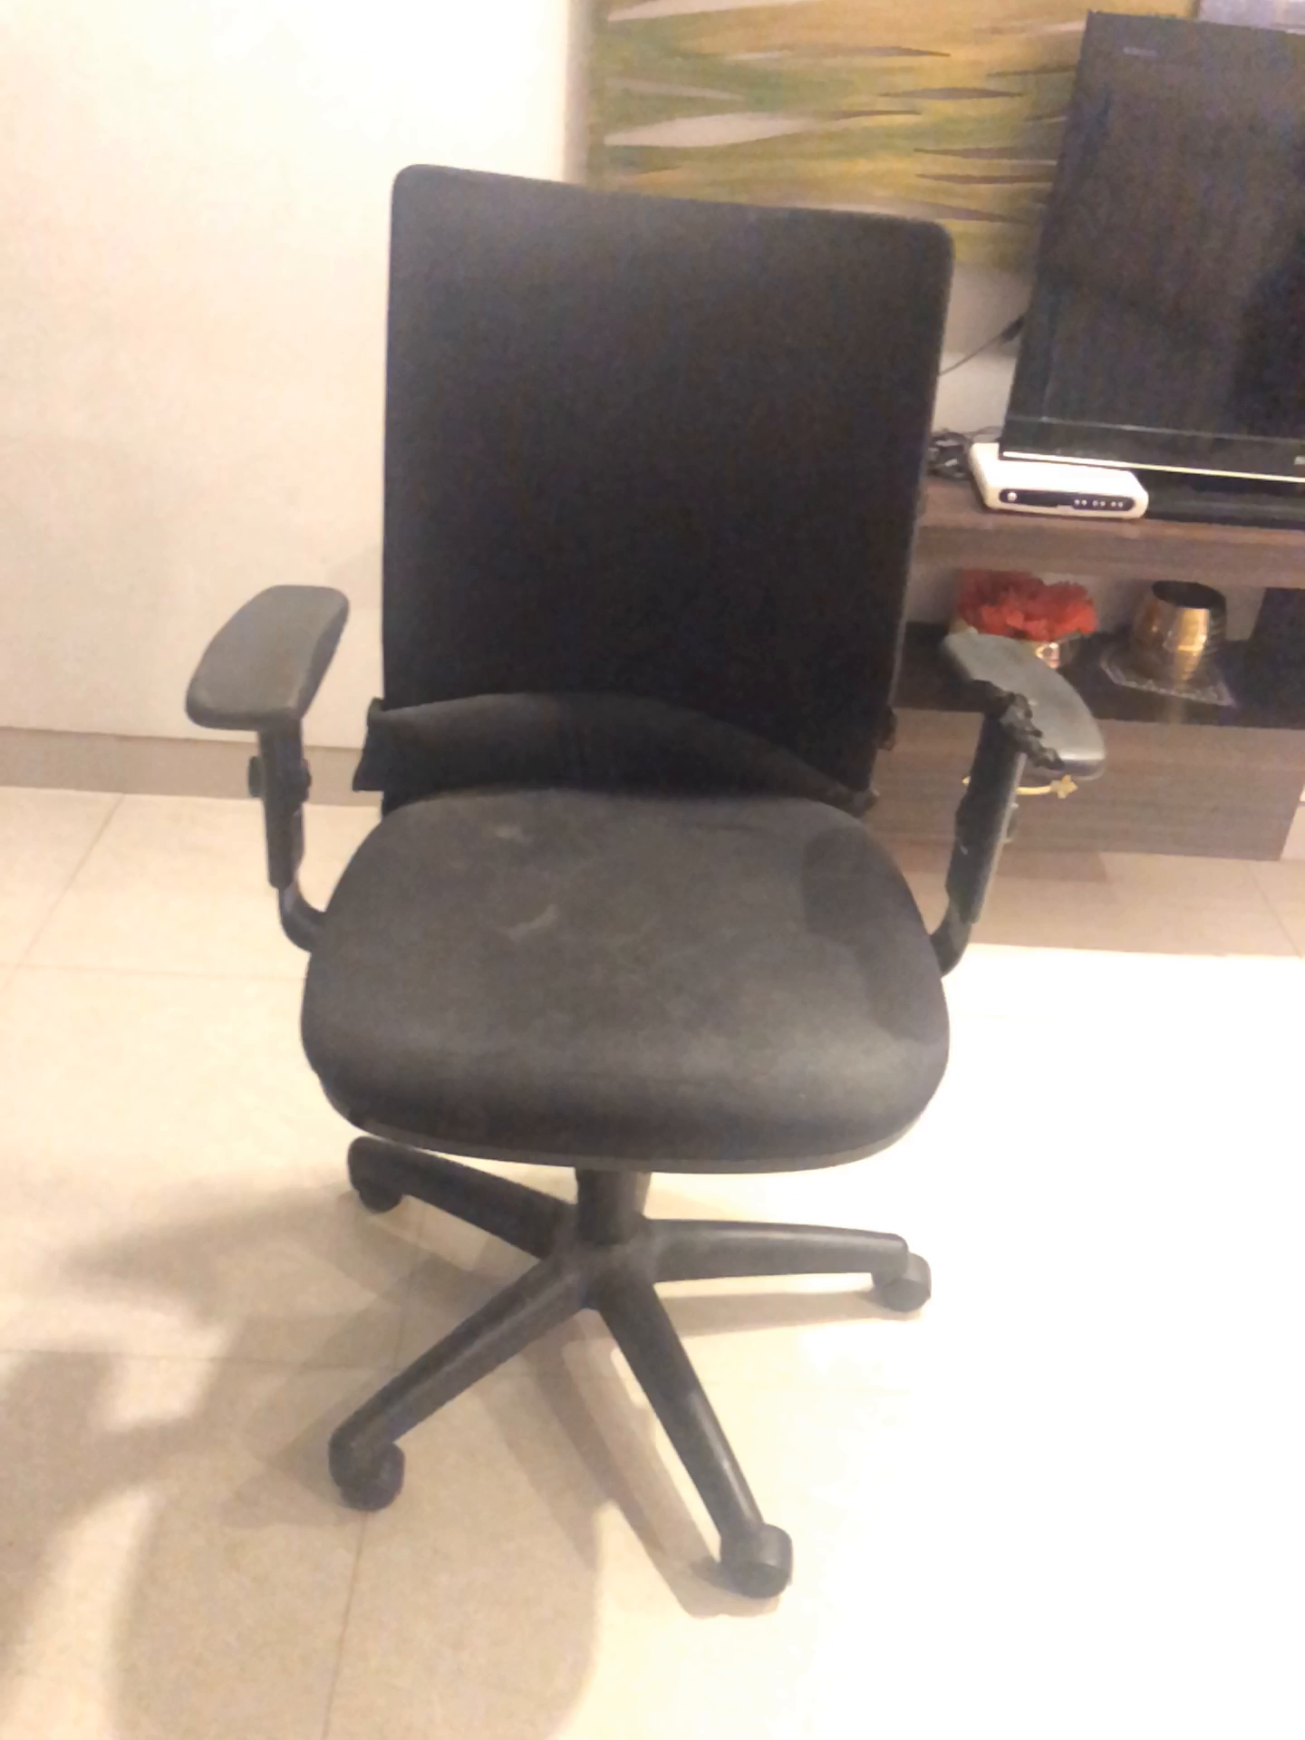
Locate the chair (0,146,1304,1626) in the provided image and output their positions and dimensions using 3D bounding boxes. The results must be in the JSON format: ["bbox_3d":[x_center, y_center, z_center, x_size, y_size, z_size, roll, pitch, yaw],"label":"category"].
[{"bbox_3d":[-0.015,0.019,1.247,0.710,1.042,0.705,1,34,-4],"label":"chair"}]
